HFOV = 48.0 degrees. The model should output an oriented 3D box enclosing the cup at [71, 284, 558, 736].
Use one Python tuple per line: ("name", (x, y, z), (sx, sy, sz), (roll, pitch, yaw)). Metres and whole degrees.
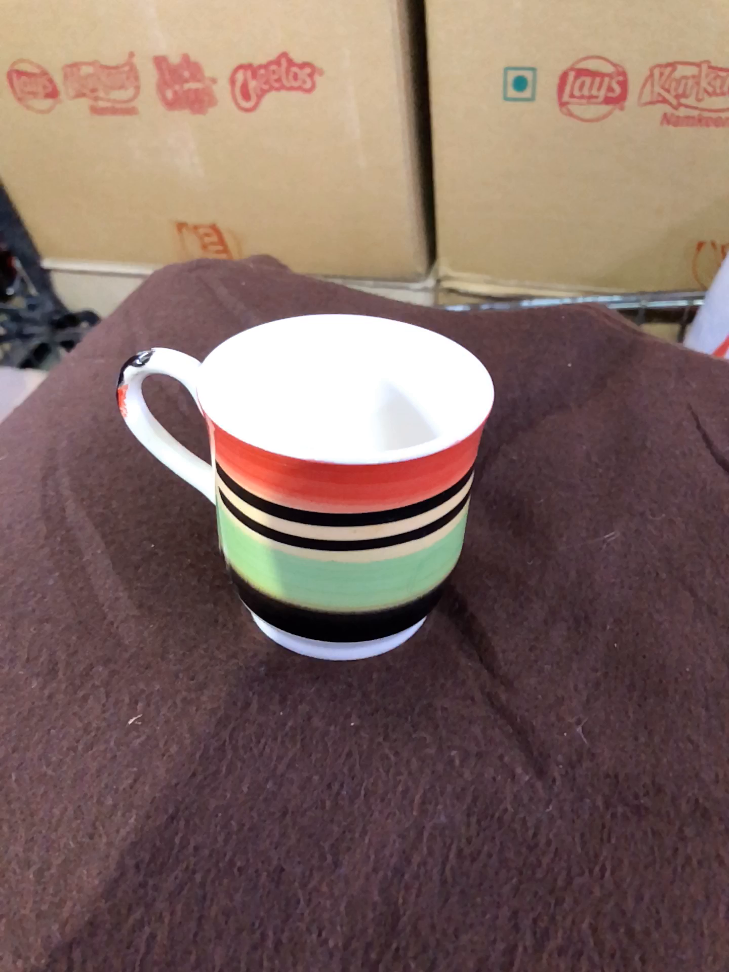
("cup", (-0.007, 0.000, 0.208), (0.090, 0.070, 0.070), (13, 37, 22))
